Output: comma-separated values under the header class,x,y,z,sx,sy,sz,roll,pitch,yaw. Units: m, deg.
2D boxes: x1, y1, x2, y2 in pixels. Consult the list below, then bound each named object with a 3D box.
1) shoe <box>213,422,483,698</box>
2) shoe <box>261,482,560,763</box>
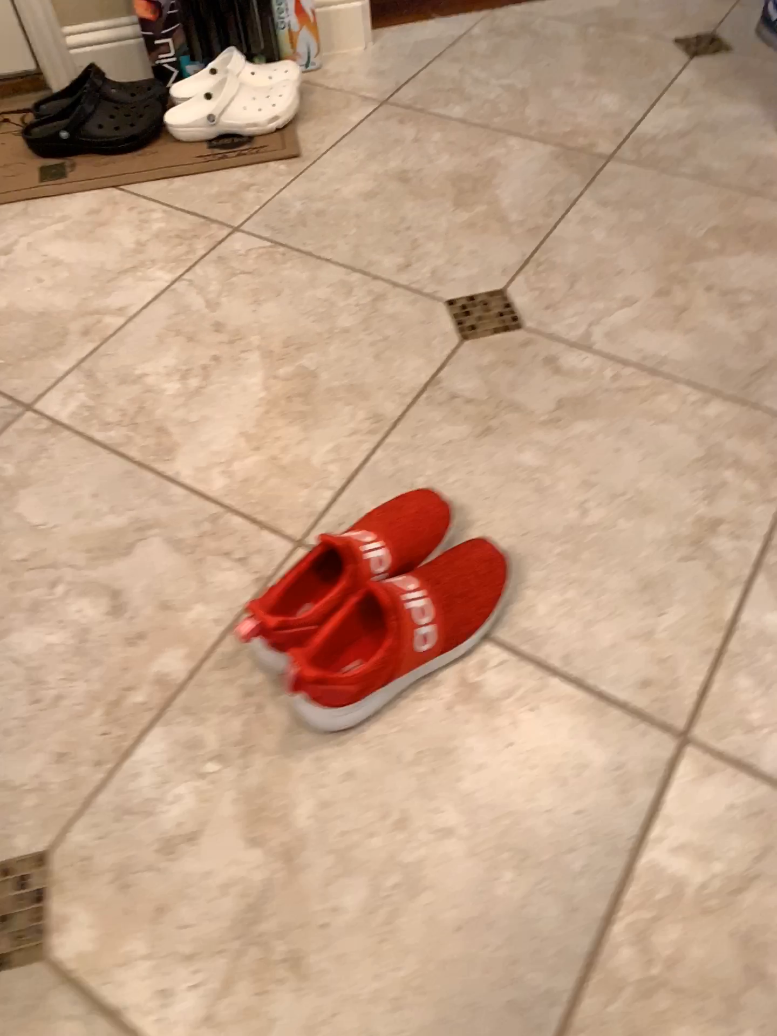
class,x,y,z,sx,sy,sz,roll,pitch,yaw
shoe,-0.035,0.042,0.914,0.118,0.119,0.300,36,63,27
shoe,0.030,0.108,0.866,0.300,0.119,0.118,-33,58,-19
